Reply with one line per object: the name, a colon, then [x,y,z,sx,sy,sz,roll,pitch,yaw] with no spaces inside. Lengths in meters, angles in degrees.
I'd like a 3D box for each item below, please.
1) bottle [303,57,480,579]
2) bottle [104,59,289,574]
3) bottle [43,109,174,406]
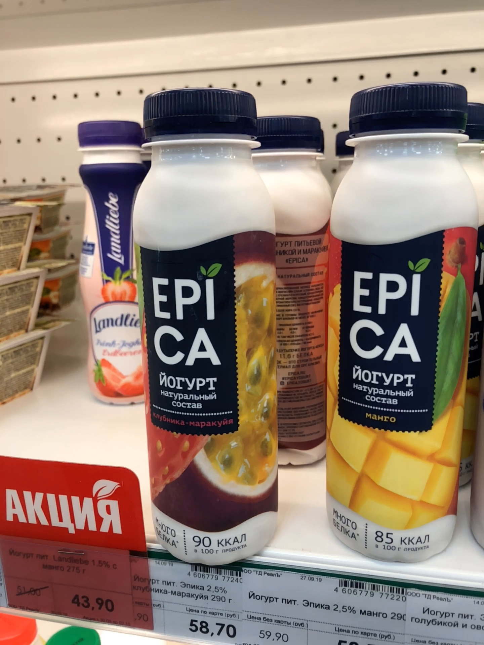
bottle: [0.057,0.001,0.210,0.053,0.177,0.051,-2,15,1]
bottle: [-0.011,0.002,0.212,0.050,0.180,0.050,-2,15,1]
bottle: [-0.083,-0.040,0.358,0.053,0.182,0.051,-2,15,1]
